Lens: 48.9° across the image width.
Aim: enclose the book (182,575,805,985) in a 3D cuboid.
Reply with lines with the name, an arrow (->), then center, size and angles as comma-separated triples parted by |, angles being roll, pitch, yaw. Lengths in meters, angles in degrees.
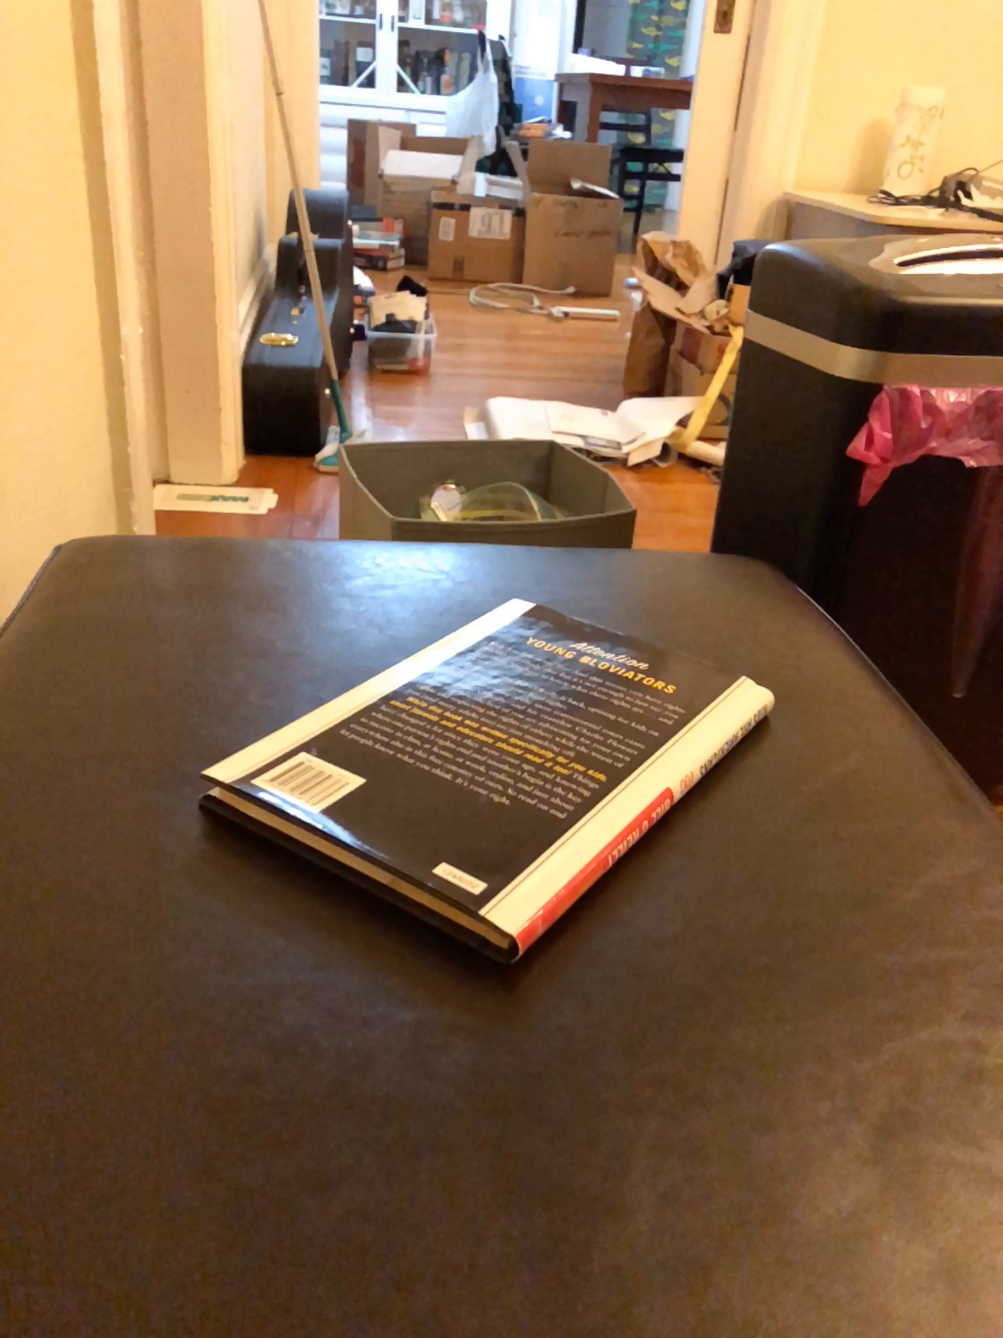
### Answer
book -> 0.011, 0.024, 0.464 | 0.160, 0.020, 0.231 | 20, 31, 27
